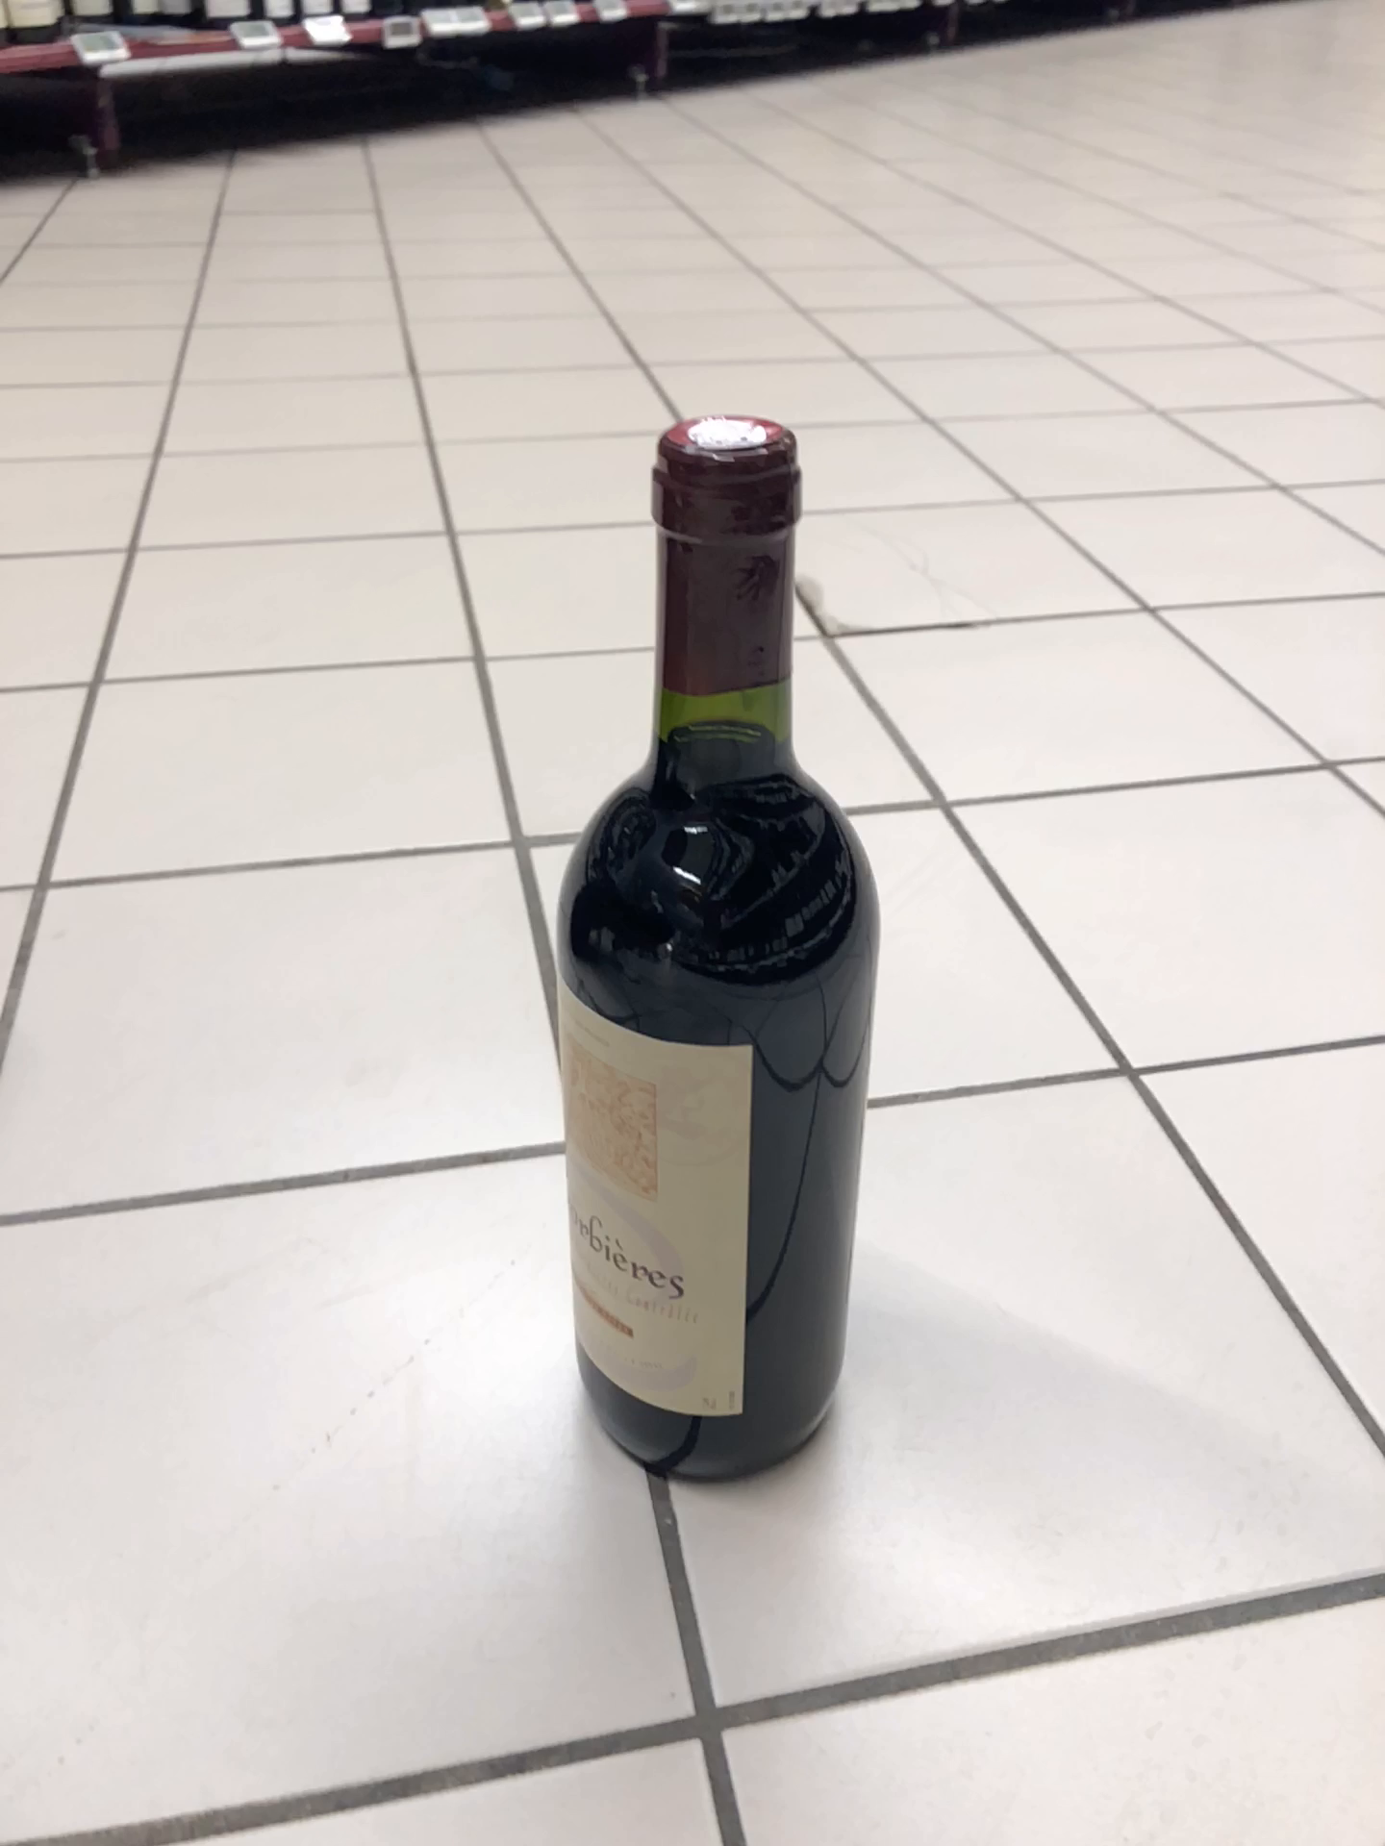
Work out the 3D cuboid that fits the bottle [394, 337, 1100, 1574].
[{"bbox_3d":[0.005,0.014,0.340,0.090,0.249,0.090,1,34,-1],"label":"bottle"}]
